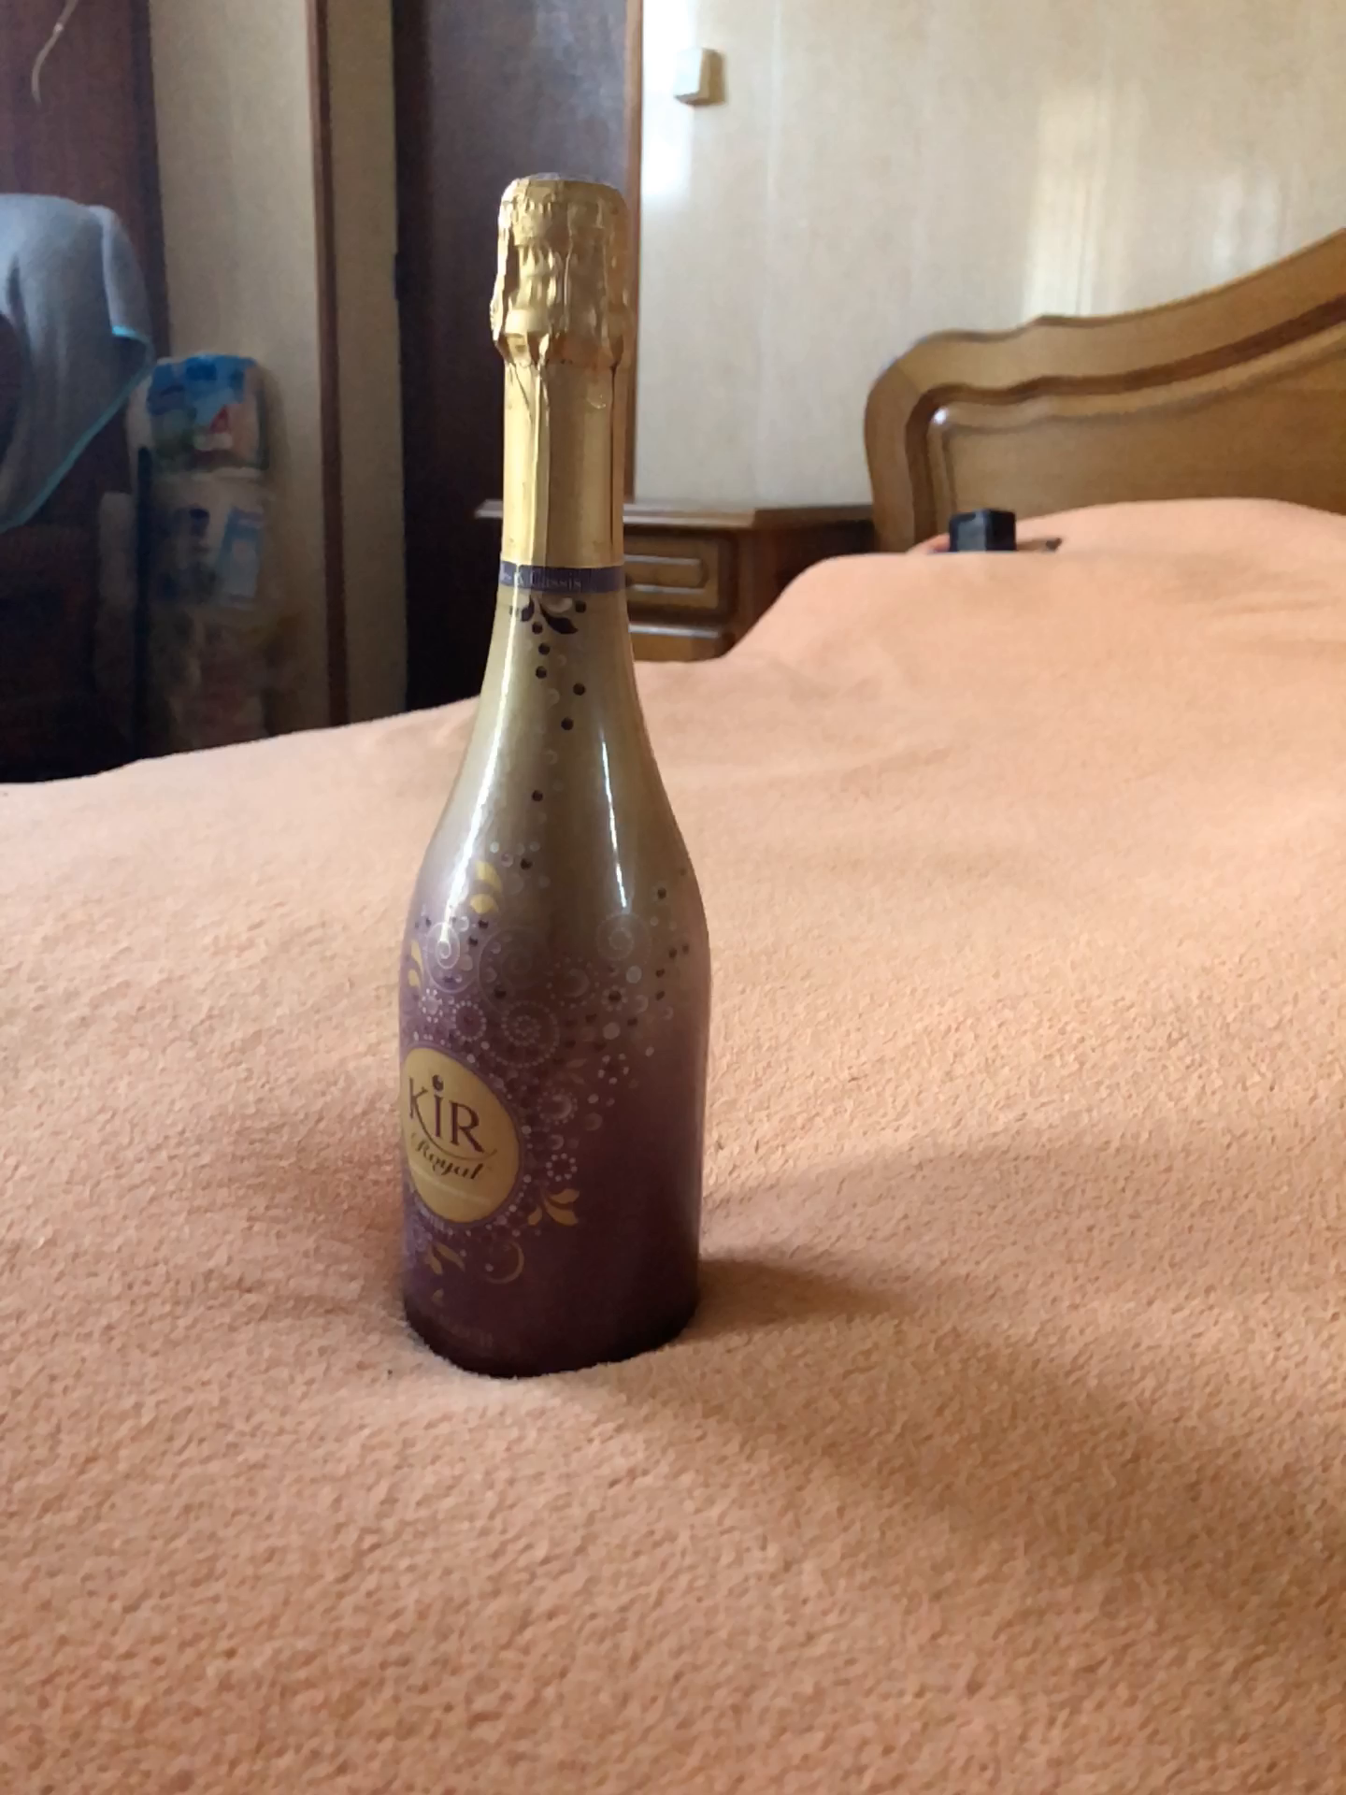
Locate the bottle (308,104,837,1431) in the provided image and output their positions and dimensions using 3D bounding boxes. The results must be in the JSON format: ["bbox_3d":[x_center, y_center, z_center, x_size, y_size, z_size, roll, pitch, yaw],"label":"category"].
[{"bbox_3d":[-0.031,-0.029,0.400,0.090,0.309,0.090,3,16,-1],"label":"bottle"}]
